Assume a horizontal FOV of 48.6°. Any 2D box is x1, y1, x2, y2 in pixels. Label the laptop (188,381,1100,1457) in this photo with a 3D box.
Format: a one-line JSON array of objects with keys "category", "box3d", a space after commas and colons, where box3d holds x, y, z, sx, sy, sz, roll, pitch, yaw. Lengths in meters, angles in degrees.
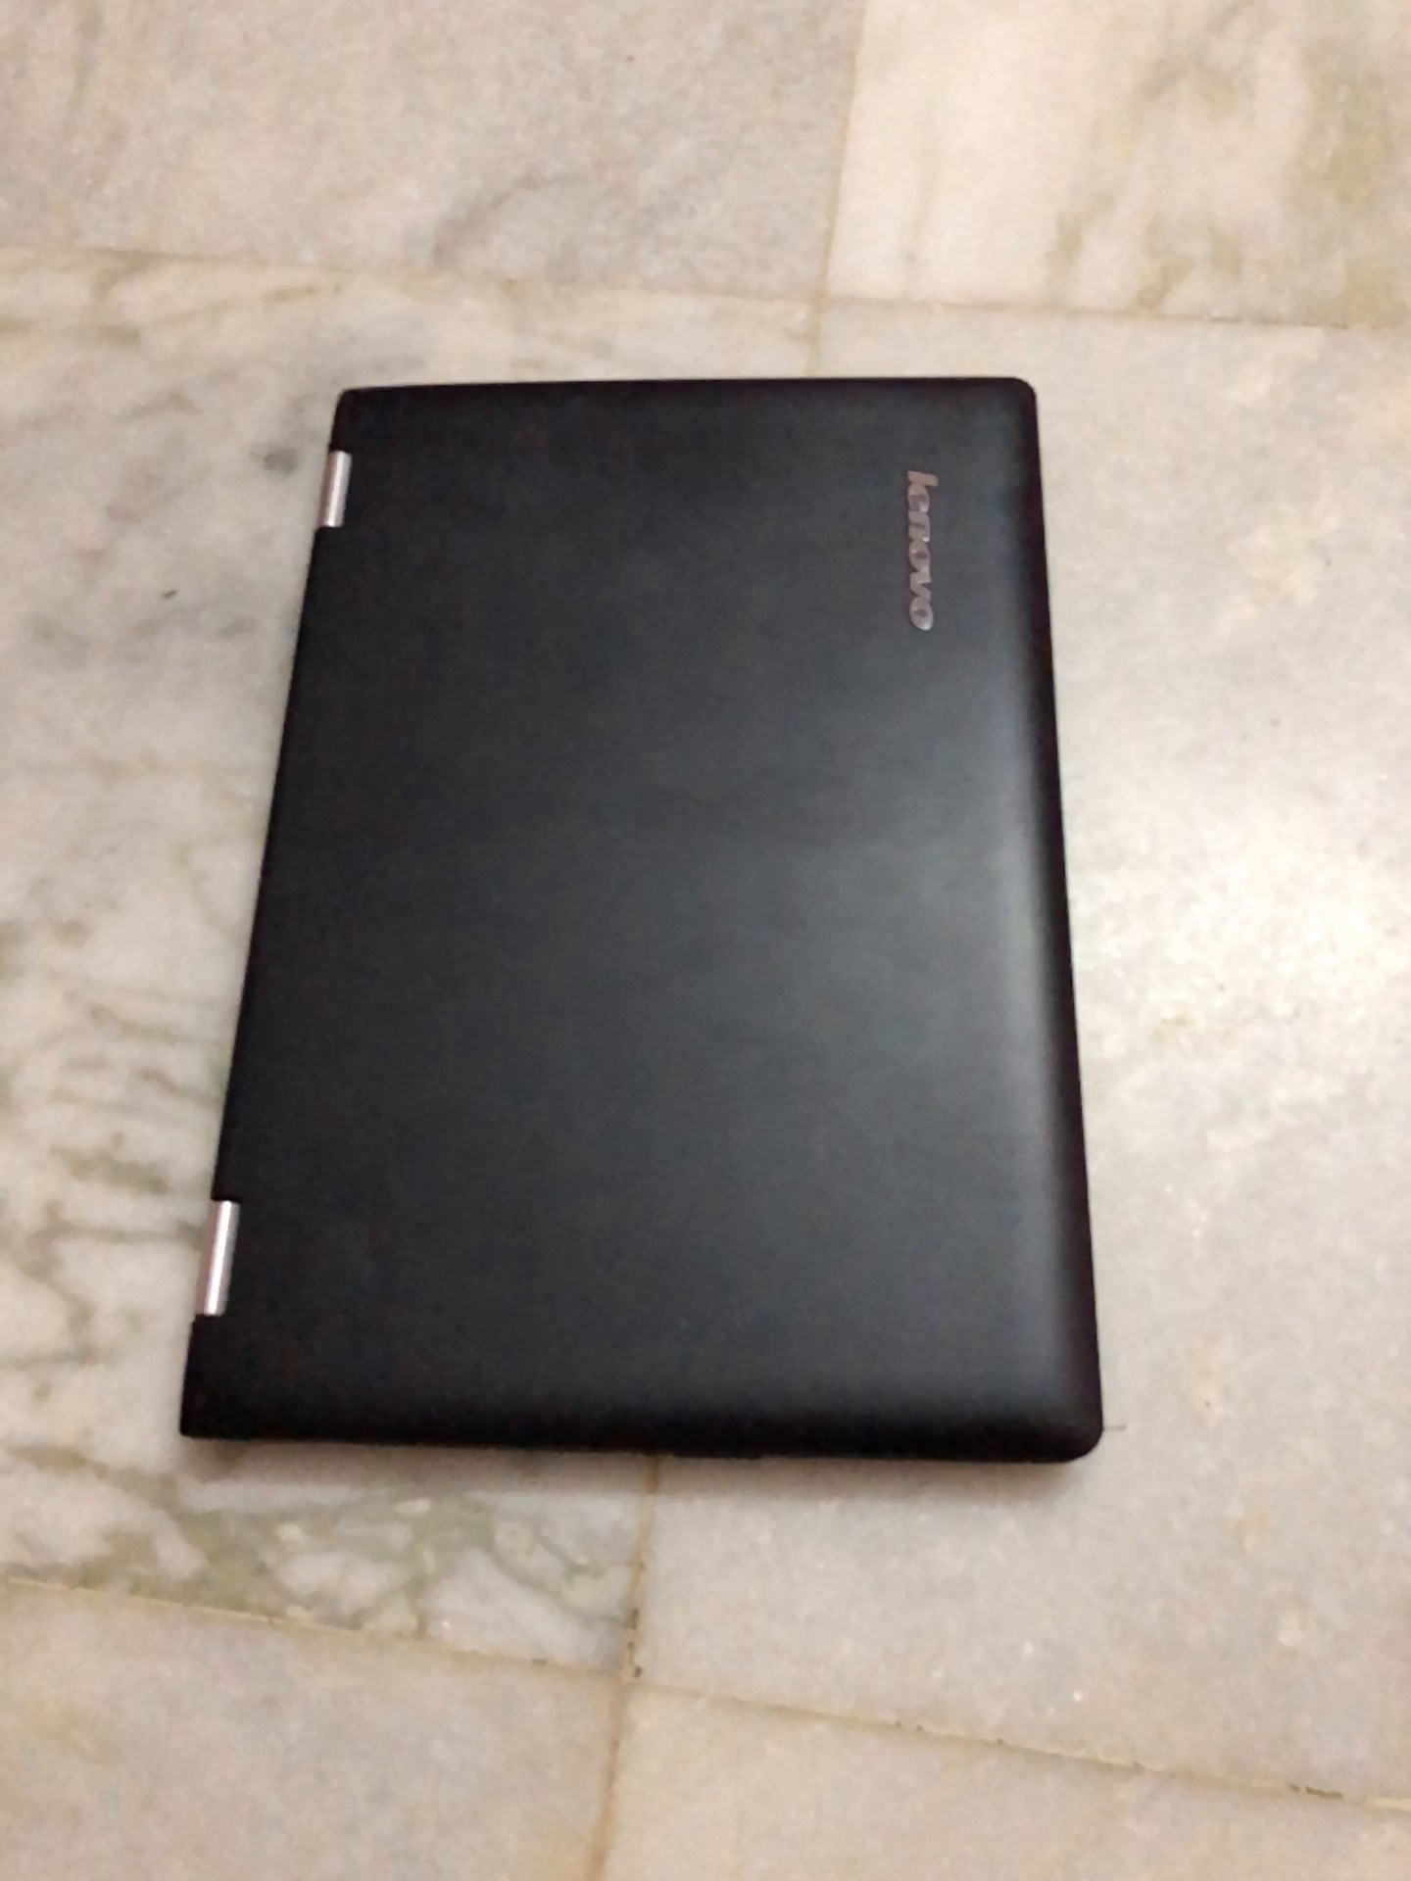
[{"category": "laptop", "box3d": [-0.011, -0.028, 0.445, 0.222, 0.002, 0.329, 0, 67, 3]}]
